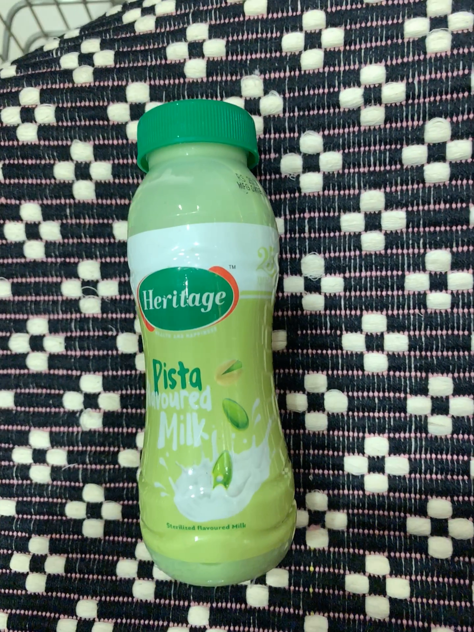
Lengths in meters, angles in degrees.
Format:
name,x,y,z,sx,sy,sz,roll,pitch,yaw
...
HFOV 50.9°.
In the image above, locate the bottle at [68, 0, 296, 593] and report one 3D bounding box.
name,x,y,z,sx,sy,sz,roll,pitch,yaw
bottle,-0.013,-0.006,0.151,0.050,0.050,0.150,-4,86,7
